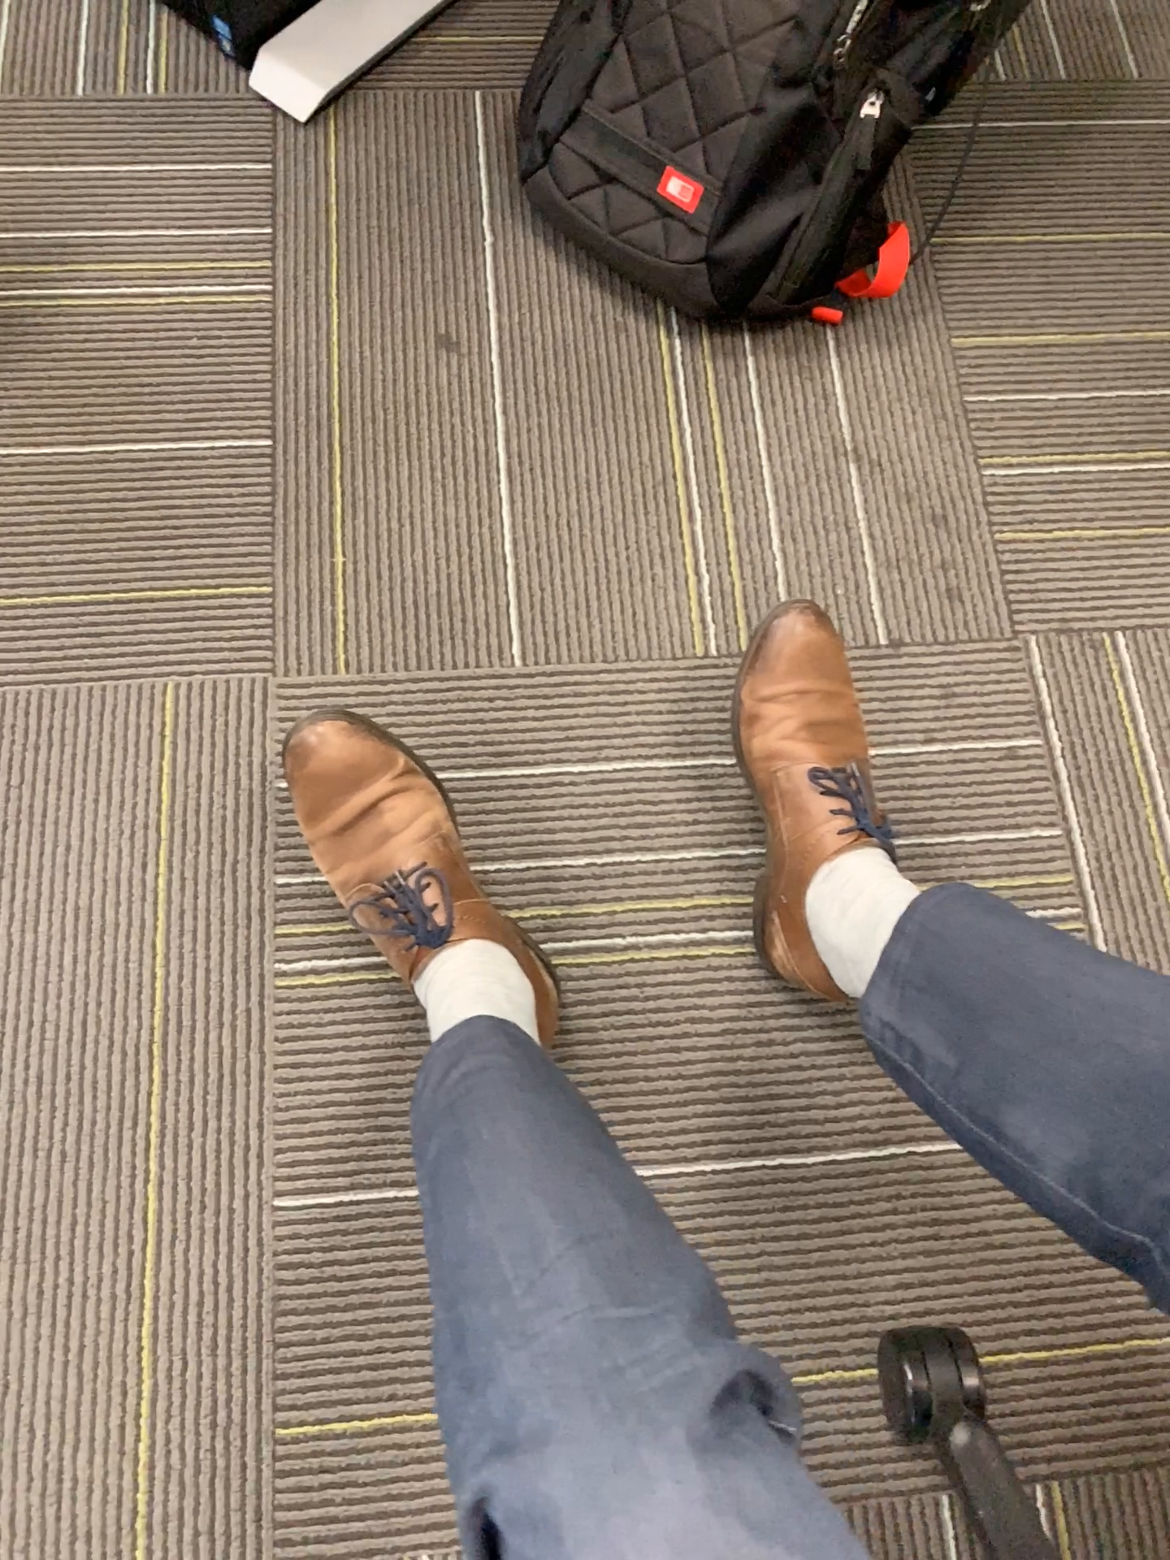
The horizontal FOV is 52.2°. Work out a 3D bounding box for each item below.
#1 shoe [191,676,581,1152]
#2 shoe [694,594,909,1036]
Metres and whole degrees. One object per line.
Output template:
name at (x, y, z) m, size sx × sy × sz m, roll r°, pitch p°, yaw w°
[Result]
shoe at (-0.122, 0.081, 0.775) m, size 0.120 × 0.084 × 0.271 m, roll -29°, pitch 95°, yaw 0°
shoe at (0.146, 0.020, 0.813) m, size 0.103 × 0.074 × 0.281 m, roll -3°, pitch 90°, yaw -26°
